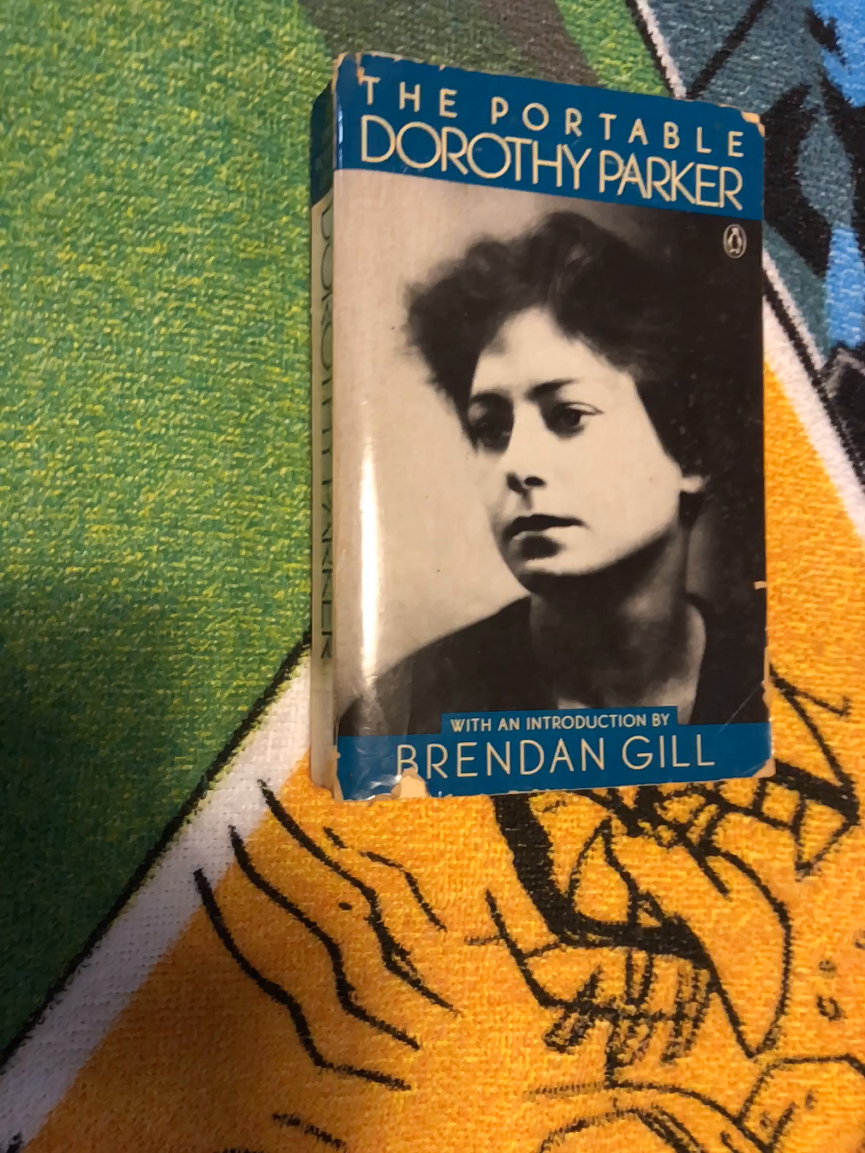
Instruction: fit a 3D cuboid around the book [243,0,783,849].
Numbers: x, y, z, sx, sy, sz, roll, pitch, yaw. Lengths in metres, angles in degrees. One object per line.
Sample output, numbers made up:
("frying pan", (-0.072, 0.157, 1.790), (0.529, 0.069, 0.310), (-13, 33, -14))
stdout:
("book", (0.023, -0.038, 0.263), (0.140, 0.040, 0.200), (0, 89, -19))
